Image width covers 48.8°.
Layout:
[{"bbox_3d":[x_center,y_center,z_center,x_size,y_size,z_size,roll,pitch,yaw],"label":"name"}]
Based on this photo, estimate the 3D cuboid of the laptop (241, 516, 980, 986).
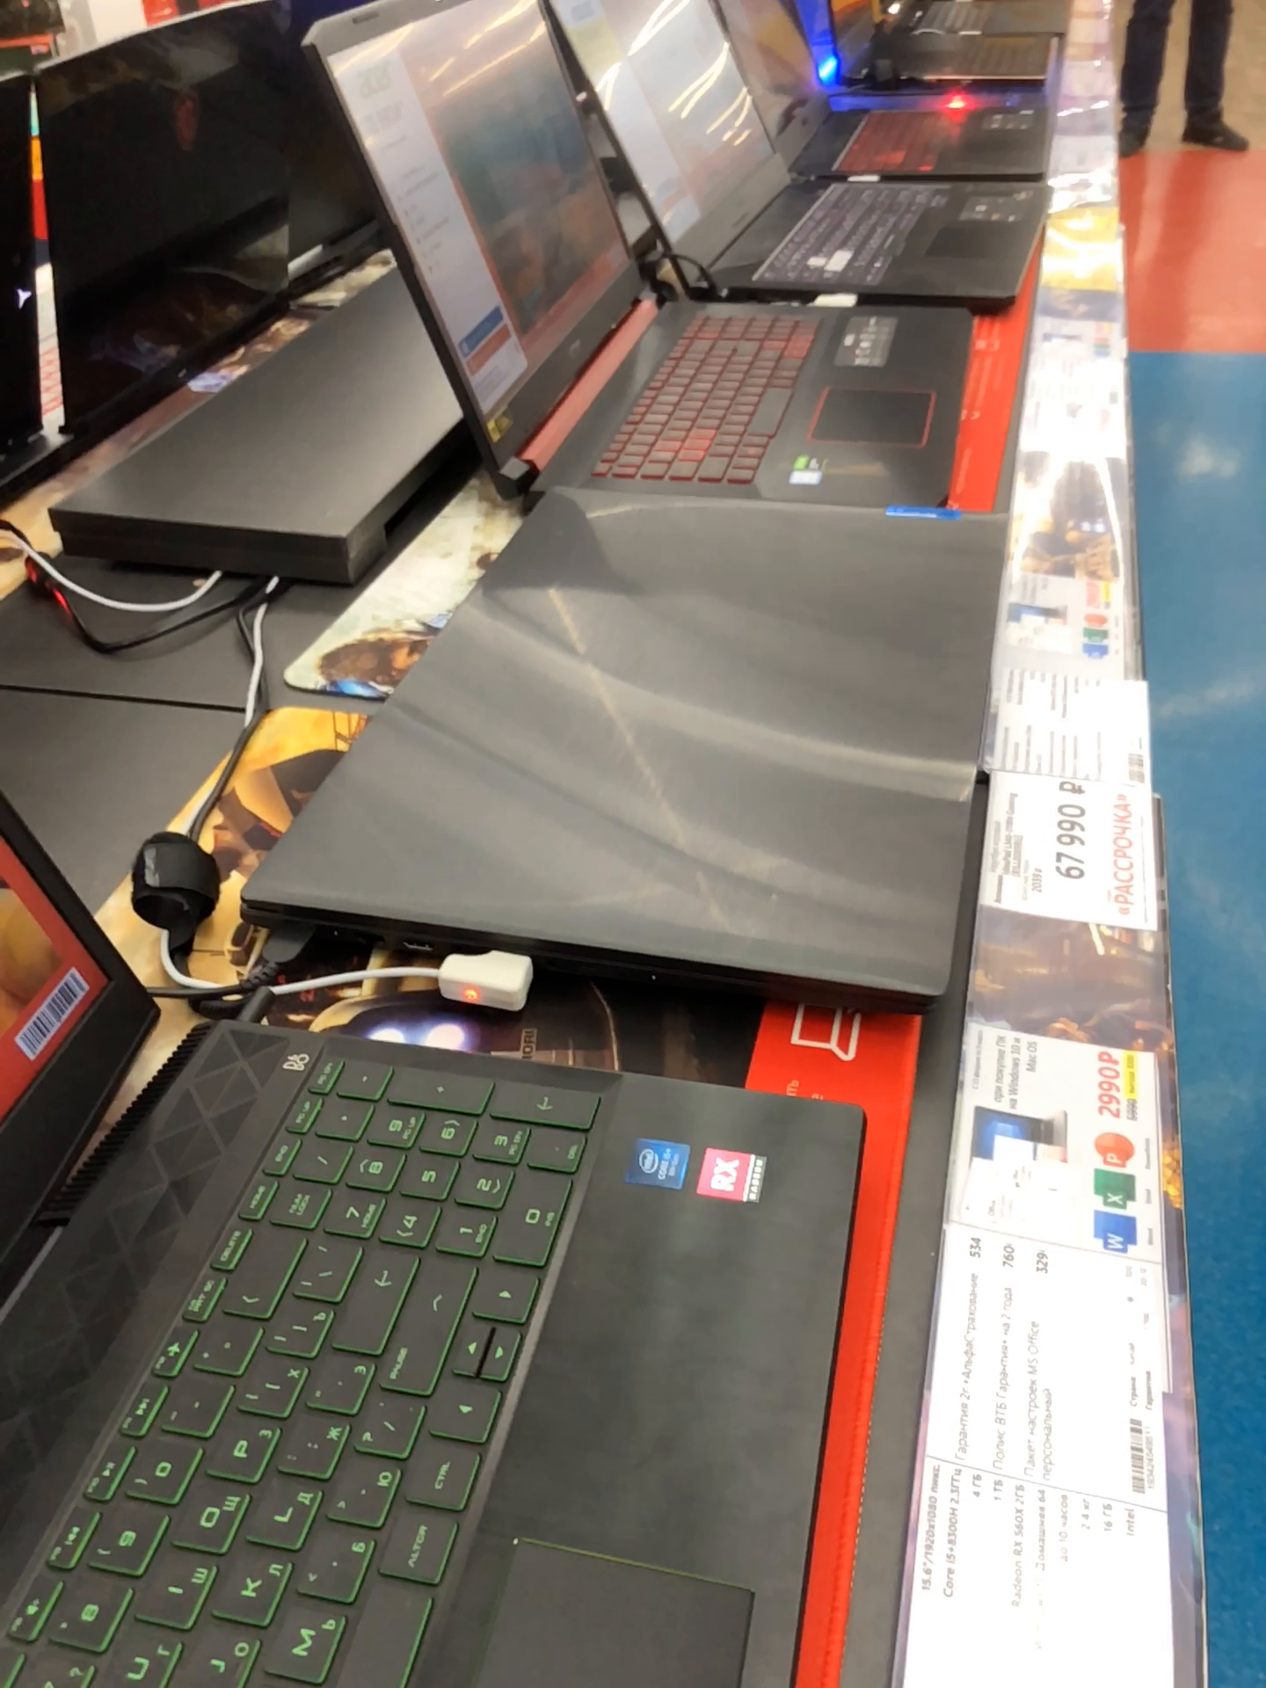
[{"bbox_3d":[0.022,-0.076,0.681,0.268,0.002,0.391,6,37,13],"label":"laptop"}]
